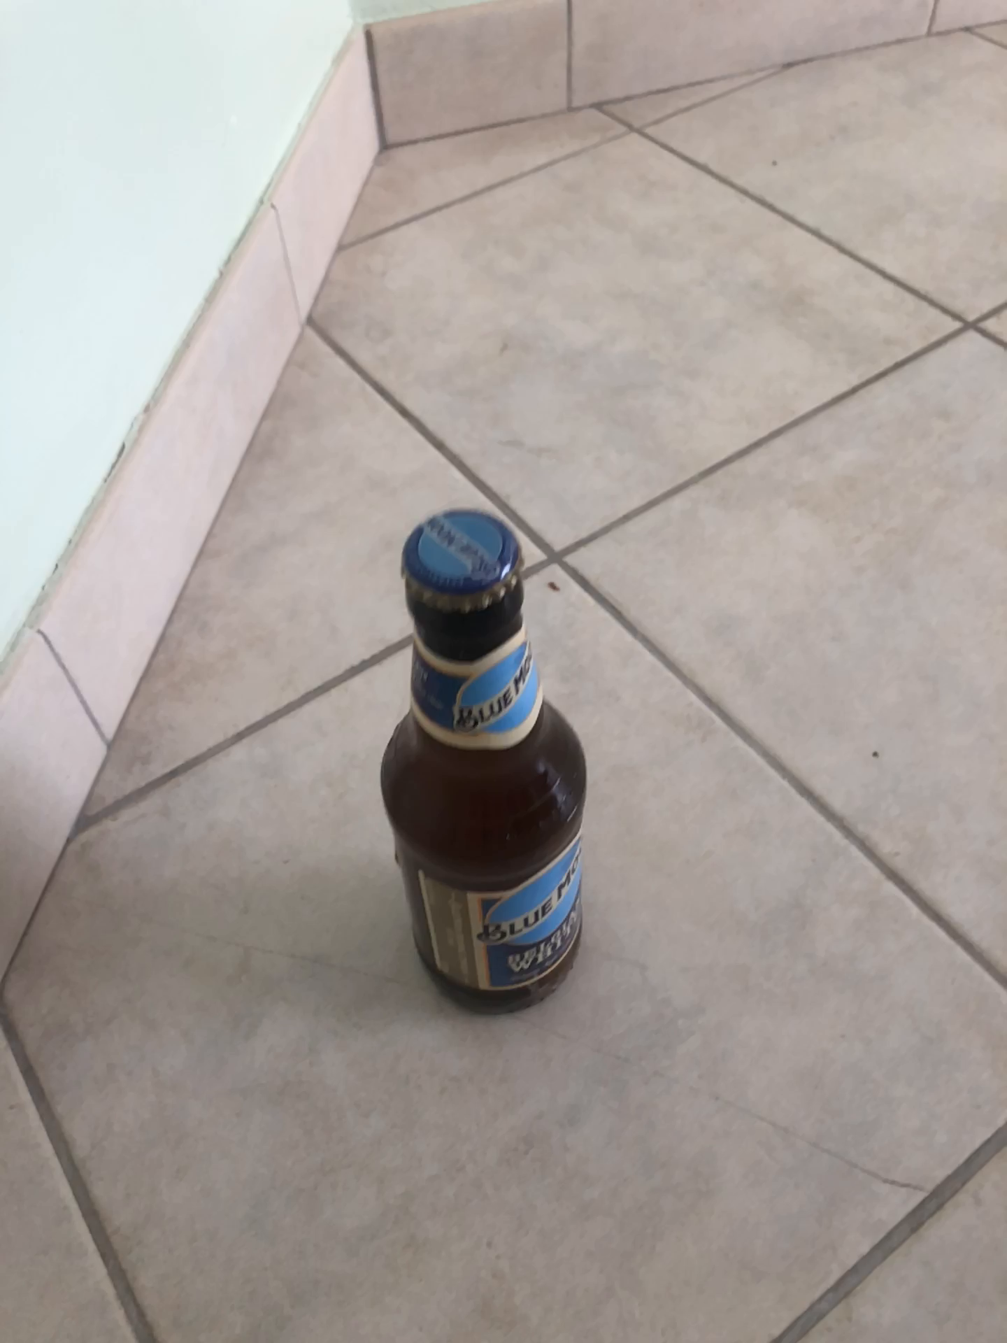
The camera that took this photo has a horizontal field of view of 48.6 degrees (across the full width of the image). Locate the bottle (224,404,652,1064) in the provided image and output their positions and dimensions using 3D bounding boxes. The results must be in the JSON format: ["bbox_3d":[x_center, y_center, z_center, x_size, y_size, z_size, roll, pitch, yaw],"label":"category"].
[{"bbox_3d":[-0.012,0.034,0.339,0.070,0.209,0.070,-1,52,1],"label":"bottle"}]
